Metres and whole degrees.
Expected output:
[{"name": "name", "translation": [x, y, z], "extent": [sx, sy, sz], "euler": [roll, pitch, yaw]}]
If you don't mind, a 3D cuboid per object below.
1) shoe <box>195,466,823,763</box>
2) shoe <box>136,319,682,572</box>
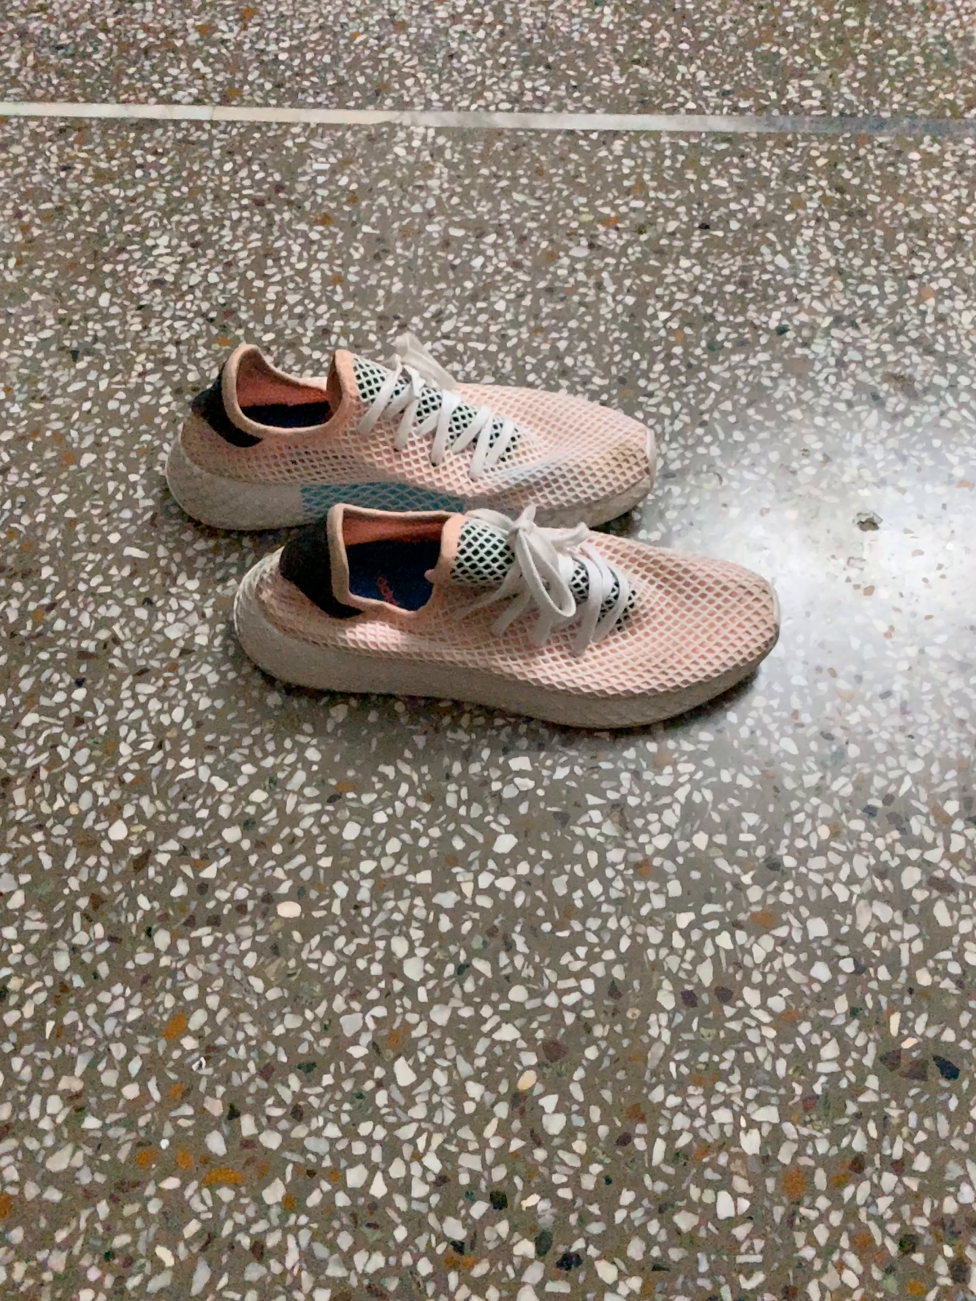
[{"name": "shoe", "translation": [0.012, -0.019, 0.566], "extent": [0.310, 0.100, 0.122], "euler": [2, 62, 2]}, {"name": "shoe", "translation": [-0.044, -0.130, 0.639], "extent": [0.310, 0.100, 0.122], "euler": [0, 61, 1]}]
